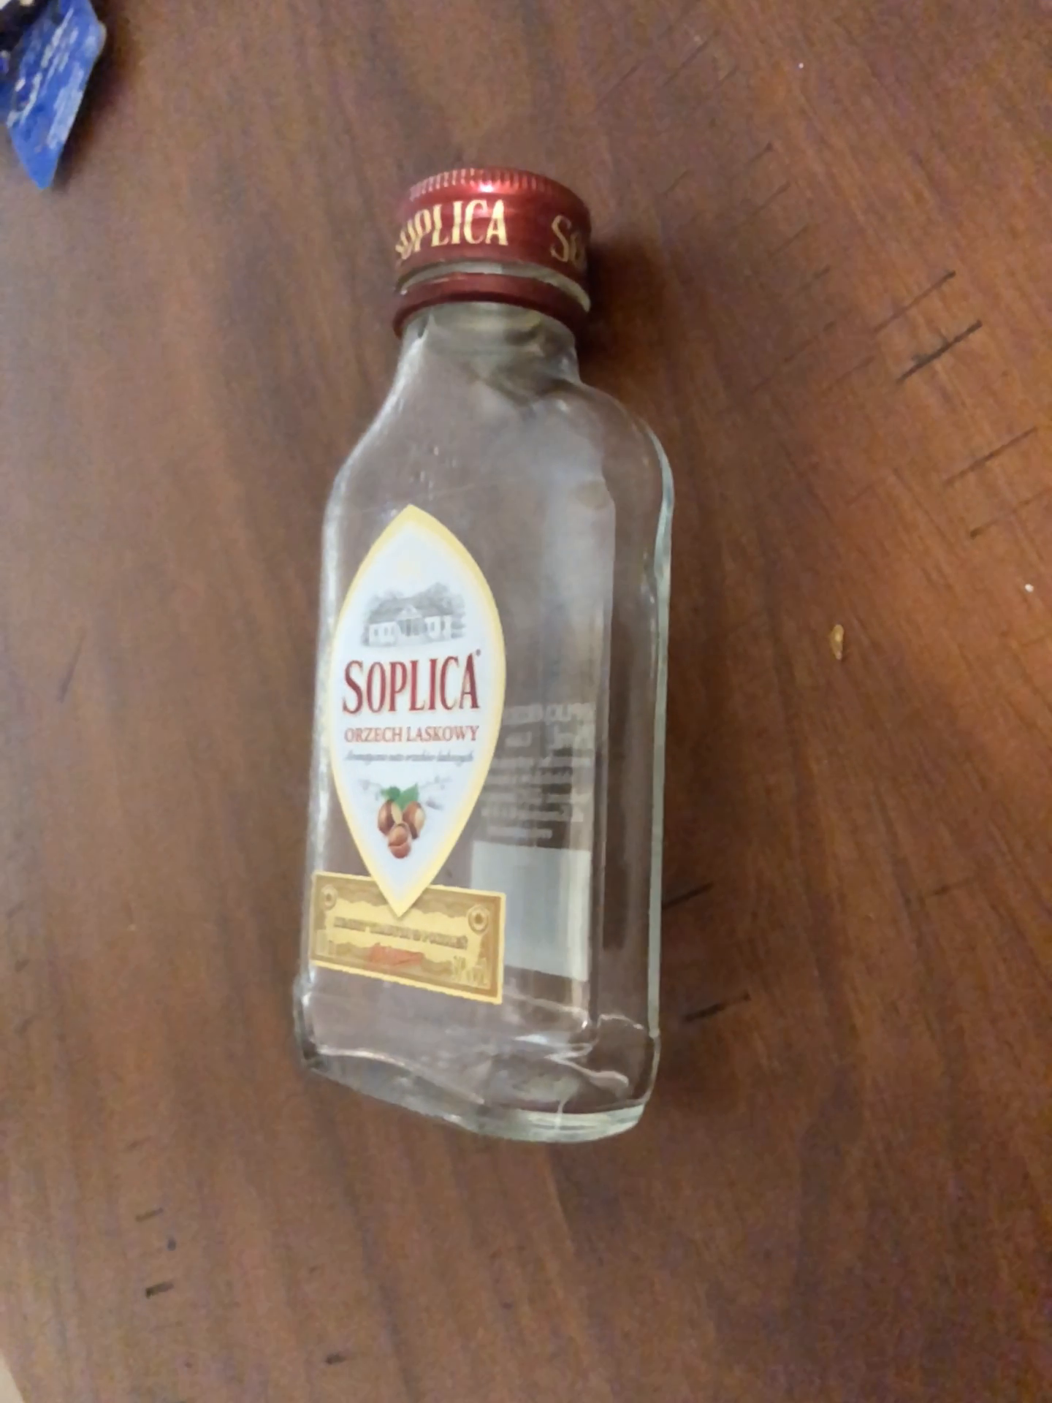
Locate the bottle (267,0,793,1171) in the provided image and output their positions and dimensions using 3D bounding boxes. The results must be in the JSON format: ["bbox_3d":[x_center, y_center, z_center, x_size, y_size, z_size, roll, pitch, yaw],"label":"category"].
[{"bbox_3d":[-0.001,-0.019,0.177,0.070,0.030,0.150,-3,82,44],"label":"bottle"}]
